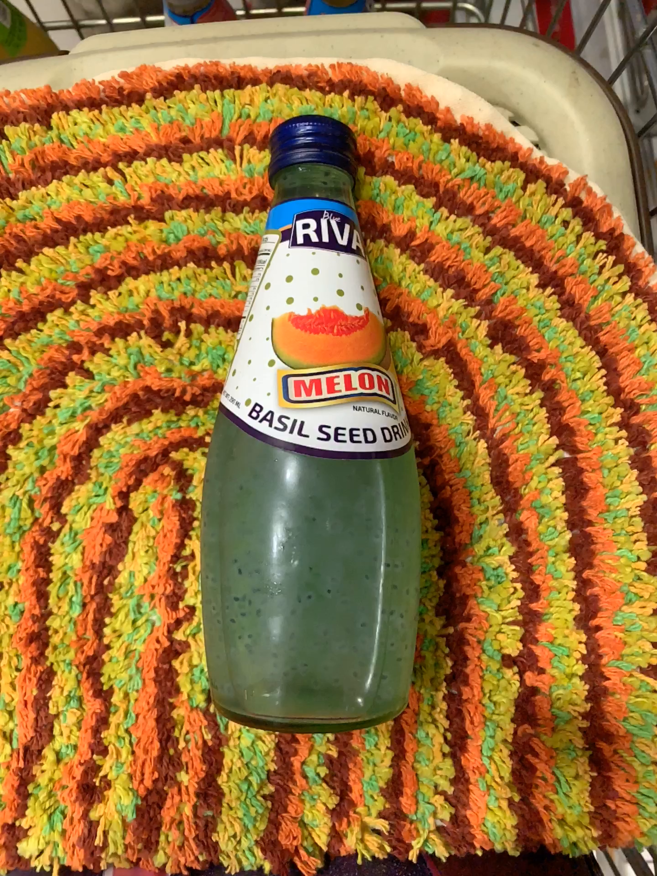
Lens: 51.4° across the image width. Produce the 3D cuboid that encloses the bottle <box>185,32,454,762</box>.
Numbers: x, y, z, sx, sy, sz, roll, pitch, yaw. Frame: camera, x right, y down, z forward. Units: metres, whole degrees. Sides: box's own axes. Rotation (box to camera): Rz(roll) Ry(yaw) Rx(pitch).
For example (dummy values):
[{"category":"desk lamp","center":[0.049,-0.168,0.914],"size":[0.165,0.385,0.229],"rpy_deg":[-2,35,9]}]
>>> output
[{"category":"bottle","center":[-0.005,-0.011,0.202],"size":[0.060,0.060,0.180],"rpy_deg":[4,81,-17]}]
